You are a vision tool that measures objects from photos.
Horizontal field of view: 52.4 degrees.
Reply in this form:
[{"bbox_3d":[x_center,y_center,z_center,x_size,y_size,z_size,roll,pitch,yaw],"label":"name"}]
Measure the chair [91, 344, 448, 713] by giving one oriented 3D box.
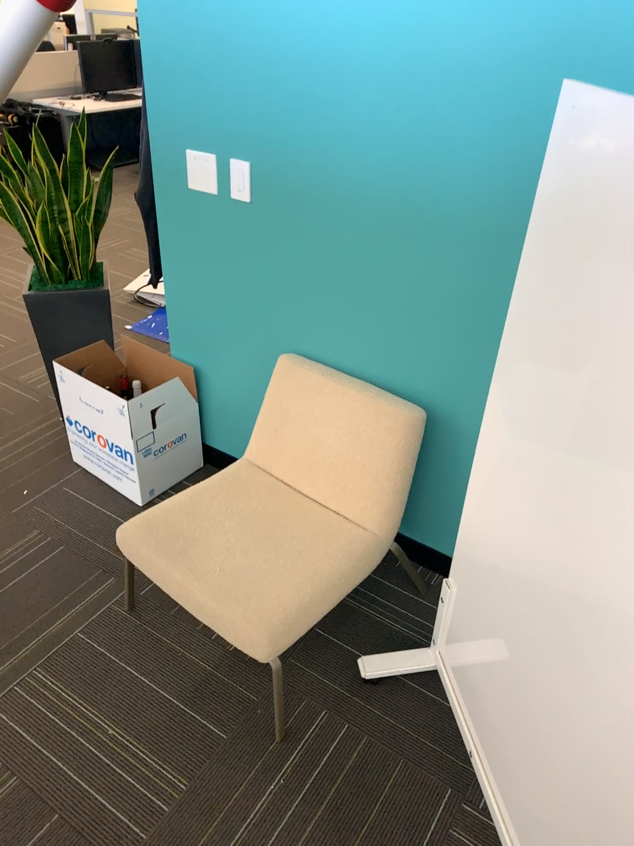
[{"bbox_3d":[-0.121,0.243,1.930,0.662,0.567,0.732,25,40,30],"label":"chair"}]
